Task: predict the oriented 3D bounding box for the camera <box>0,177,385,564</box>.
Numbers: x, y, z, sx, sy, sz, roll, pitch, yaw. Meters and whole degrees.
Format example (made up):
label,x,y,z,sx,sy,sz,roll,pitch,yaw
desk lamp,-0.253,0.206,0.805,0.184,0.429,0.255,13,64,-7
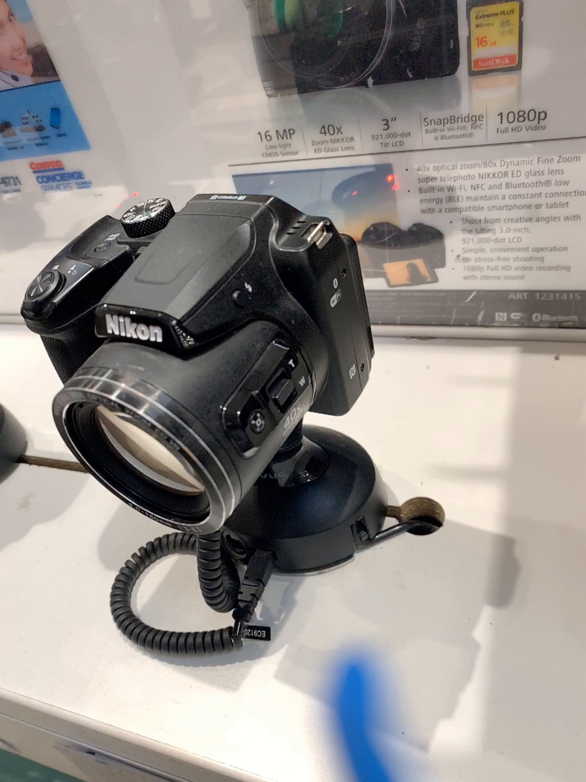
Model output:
label,x,y,z,sx,sy,sz,roll,pitch,yaw
camera,-0.038,-0.010,0.193,0.110,0.089,0.060,8,45,26
